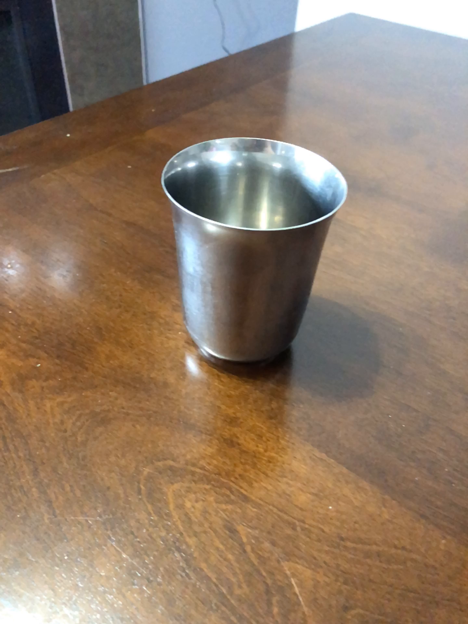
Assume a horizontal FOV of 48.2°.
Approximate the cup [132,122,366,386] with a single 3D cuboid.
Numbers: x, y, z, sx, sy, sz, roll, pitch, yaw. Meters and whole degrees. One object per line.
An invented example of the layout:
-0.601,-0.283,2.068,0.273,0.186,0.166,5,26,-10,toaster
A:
0.009,-0.031,0.253,0.080,0.080,0.080,2,42,-2,cup
